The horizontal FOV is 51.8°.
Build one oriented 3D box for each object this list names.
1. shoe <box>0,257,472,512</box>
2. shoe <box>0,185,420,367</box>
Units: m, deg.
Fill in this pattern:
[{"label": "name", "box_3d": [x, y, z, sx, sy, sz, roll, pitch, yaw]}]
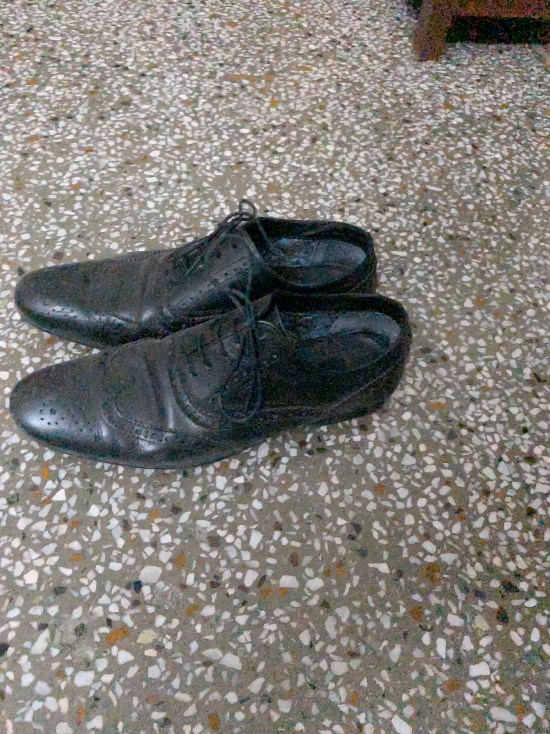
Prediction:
[{"label": "shoe", "box_3d": [-0.034, 0.009, 0.429, 0.320, 0.100, 0.100, -10, 58, -12]}, {"label": "shoe", "box_3d": [-0.056, -0.079, 0.486, 0.320, 0.100, 0.100, -4, 57, -8]}]
